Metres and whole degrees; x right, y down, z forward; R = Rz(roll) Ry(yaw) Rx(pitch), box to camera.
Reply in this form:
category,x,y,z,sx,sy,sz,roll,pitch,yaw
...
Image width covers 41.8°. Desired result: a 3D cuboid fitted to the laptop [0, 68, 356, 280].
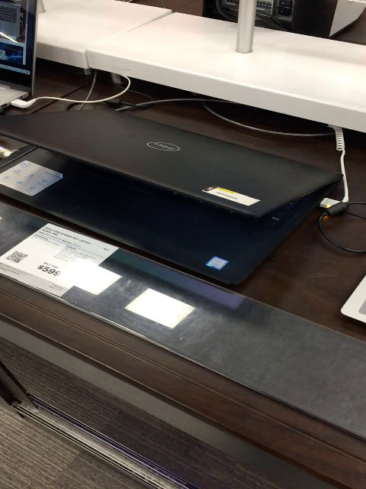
category,x,y,z,sx,sy,sz,roll,pitch,yaw
laptop,-0.039,-0.116,0.635,0.401,0.081,0.222,24,55,26
